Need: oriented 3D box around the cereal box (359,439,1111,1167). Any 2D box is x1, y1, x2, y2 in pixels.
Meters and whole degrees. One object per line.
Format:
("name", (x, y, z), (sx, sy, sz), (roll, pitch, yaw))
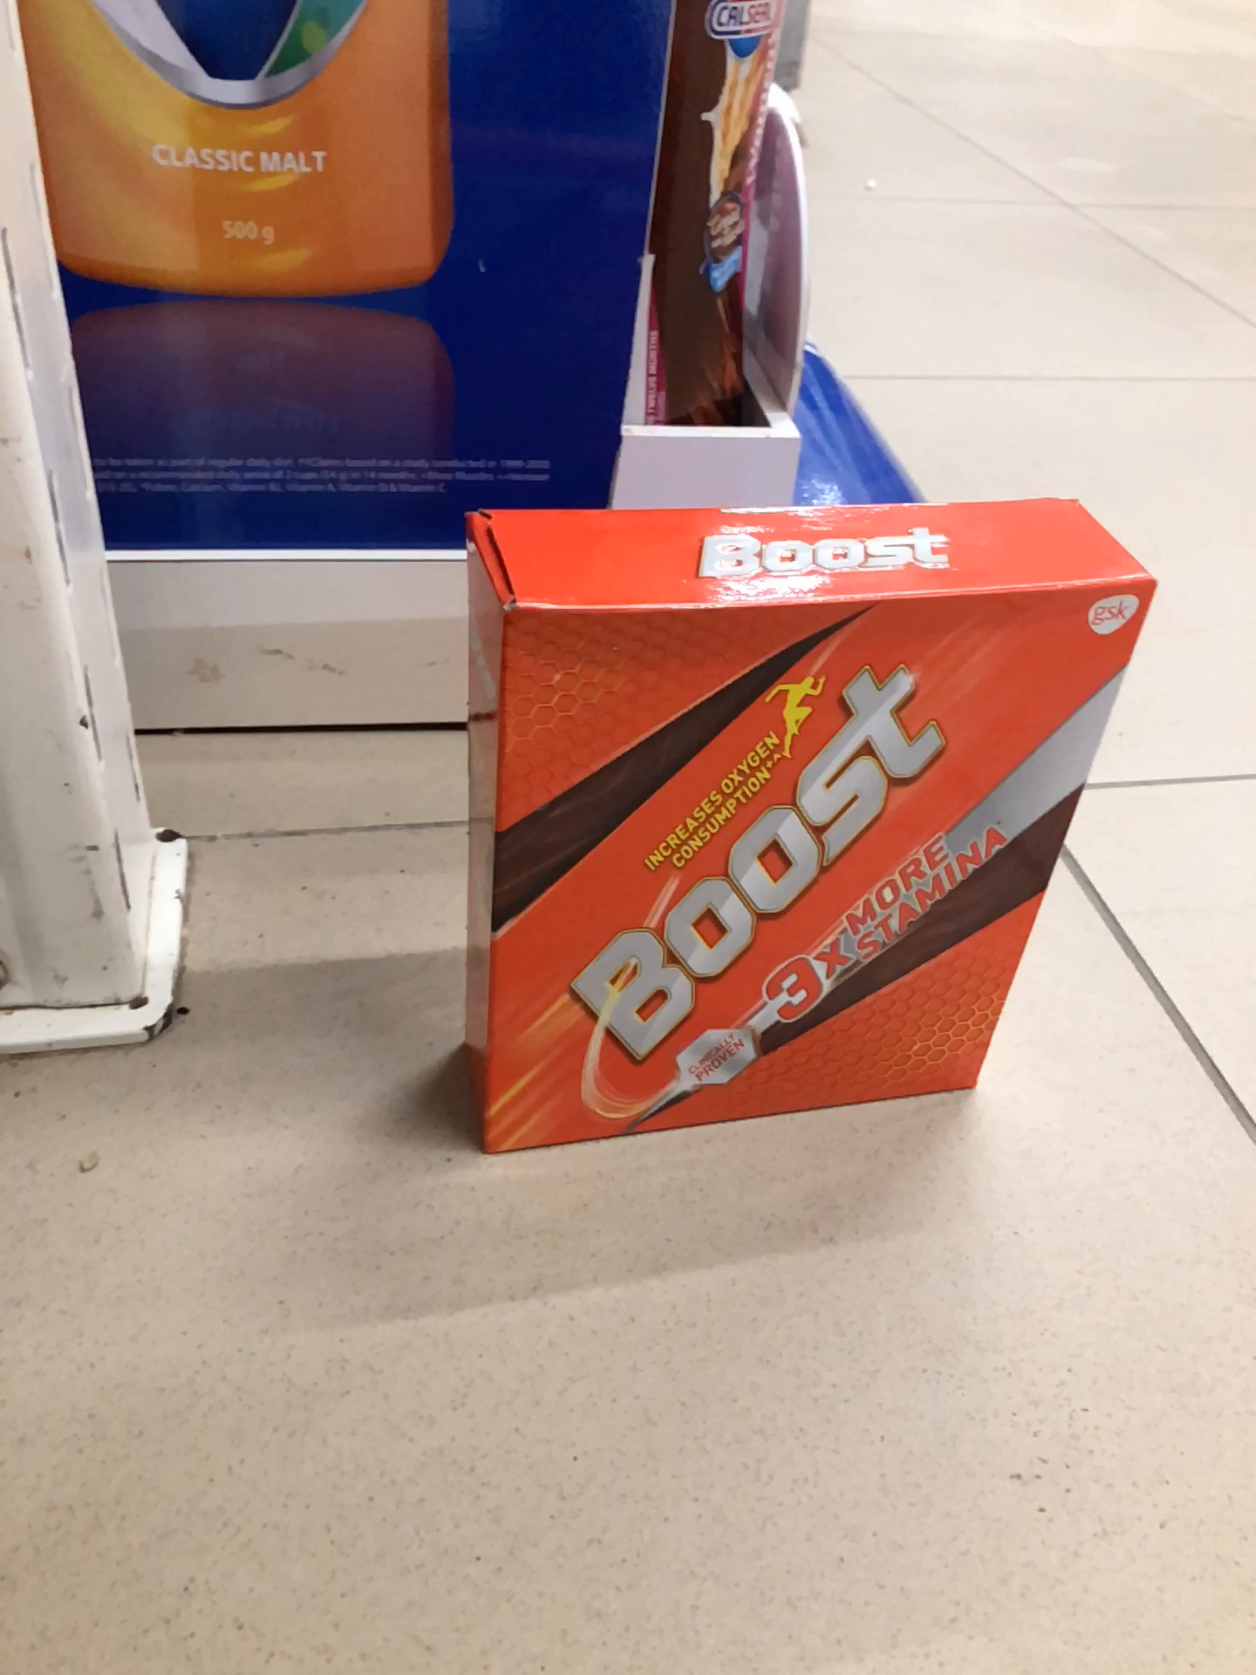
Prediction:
("cereal box", (0.016, -0.006, 0.362), (0.160, 0.179, 0.050), (-7, 40, -17))
